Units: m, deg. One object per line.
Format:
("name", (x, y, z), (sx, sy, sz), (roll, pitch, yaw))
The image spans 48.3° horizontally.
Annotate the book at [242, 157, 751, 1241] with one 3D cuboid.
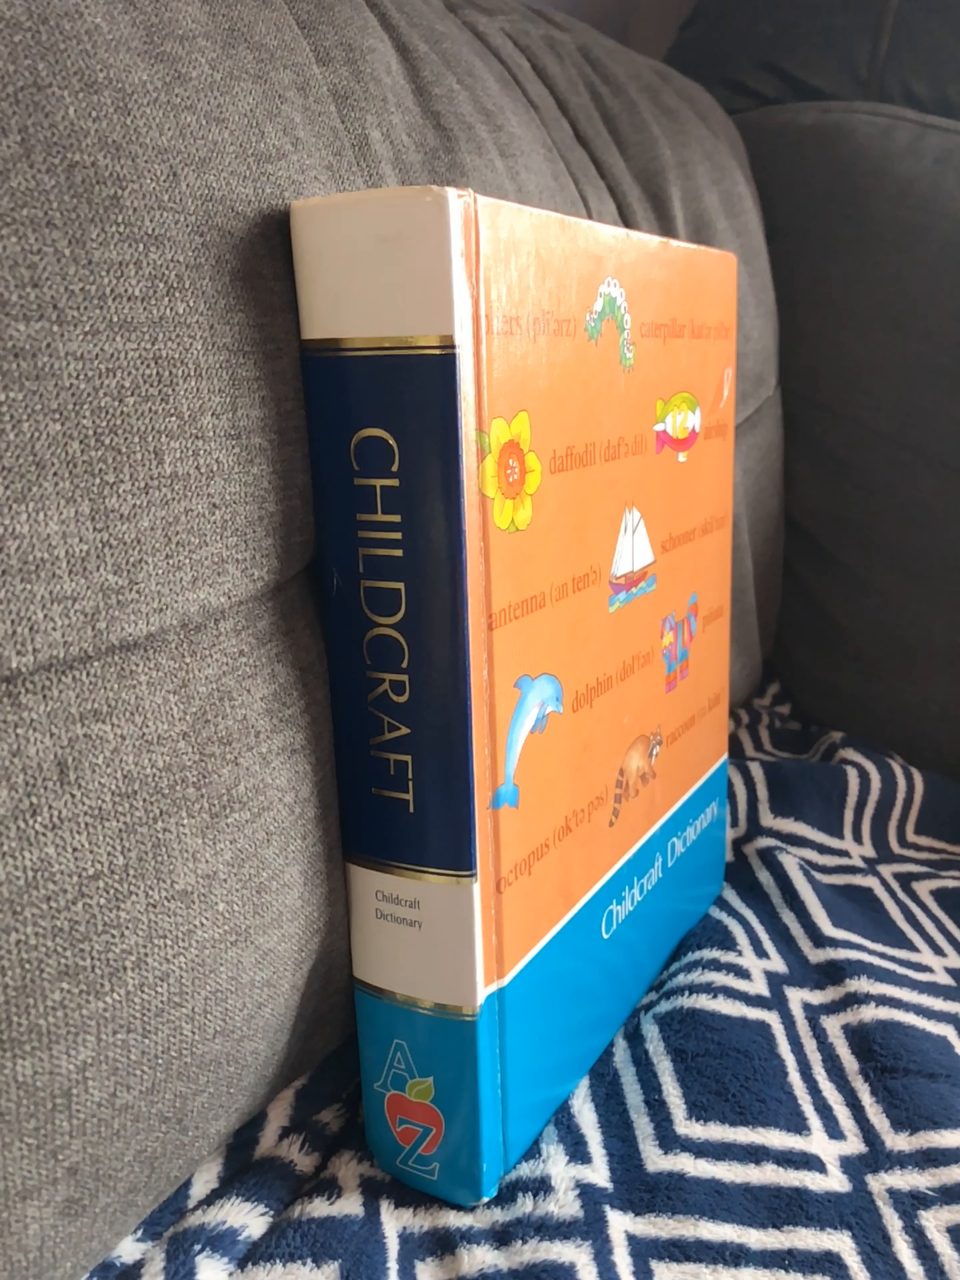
("book", (0.027, 0.002, 0.347), (0.055, 0.260, 0.210), (6, 16, 29))
